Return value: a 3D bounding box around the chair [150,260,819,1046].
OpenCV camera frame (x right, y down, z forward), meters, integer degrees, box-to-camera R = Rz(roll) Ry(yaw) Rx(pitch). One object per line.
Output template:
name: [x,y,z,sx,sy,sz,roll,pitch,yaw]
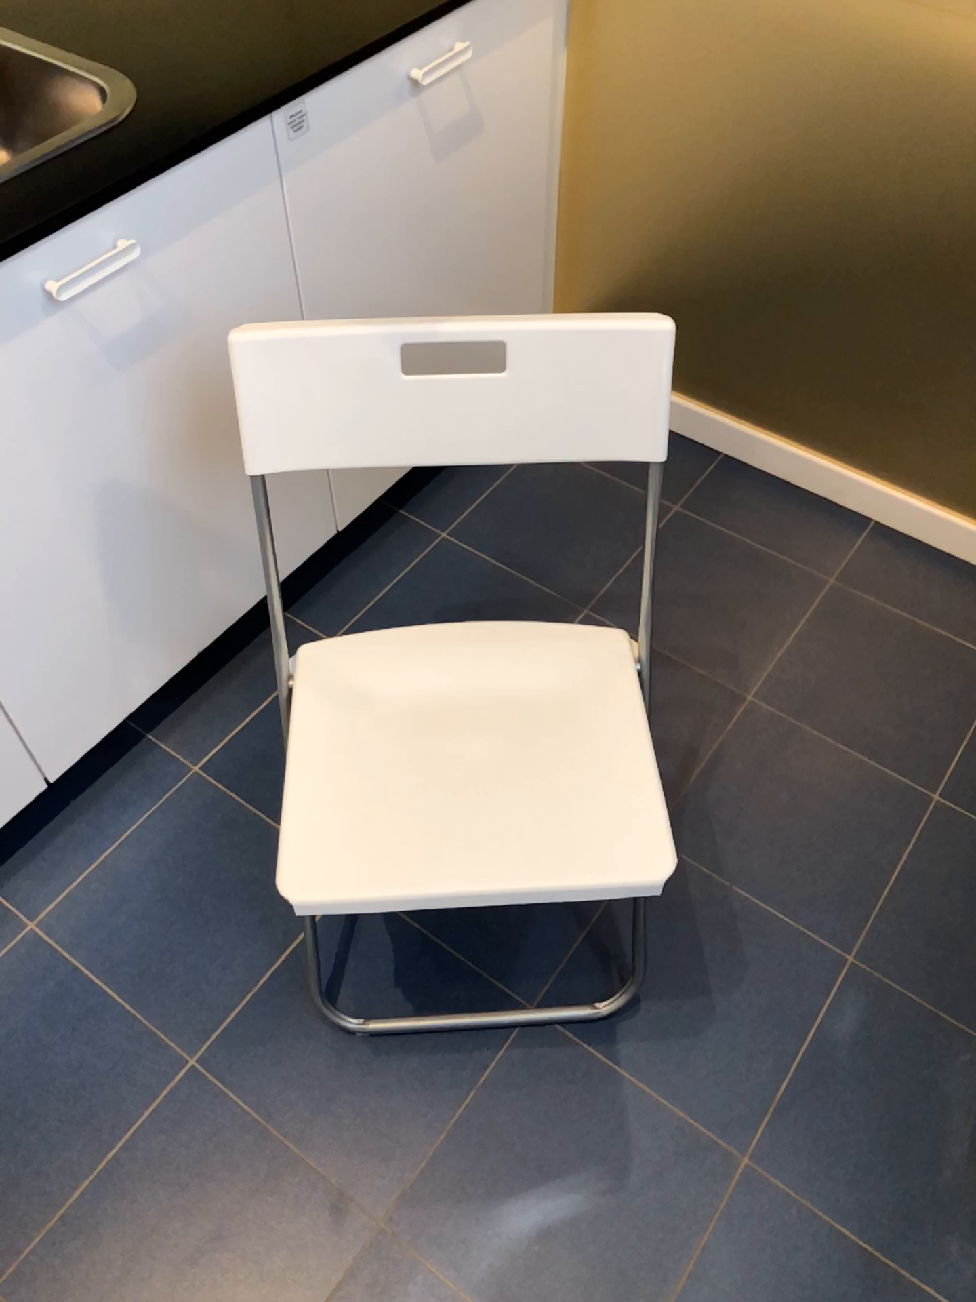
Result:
chair: [-0.016,0.051,1.250,0.490,0.775,0.523,-3,52,-2]
